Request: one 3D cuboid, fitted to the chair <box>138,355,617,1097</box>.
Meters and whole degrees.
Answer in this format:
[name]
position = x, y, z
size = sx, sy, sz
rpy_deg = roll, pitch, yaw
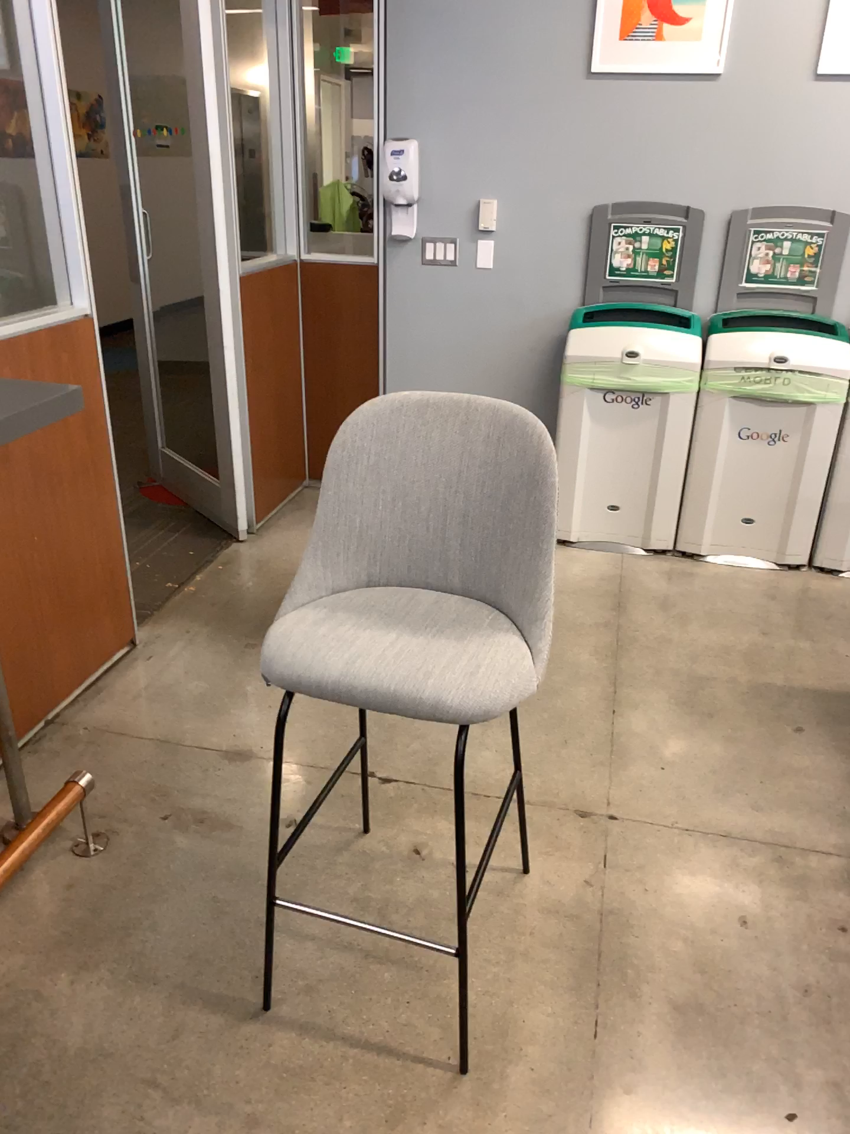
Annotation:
[chair]
position = -0.021, 0.229, 1.724
size = 0.591, 1.094, 0.814
rpy_deg = 9, 25, 15
